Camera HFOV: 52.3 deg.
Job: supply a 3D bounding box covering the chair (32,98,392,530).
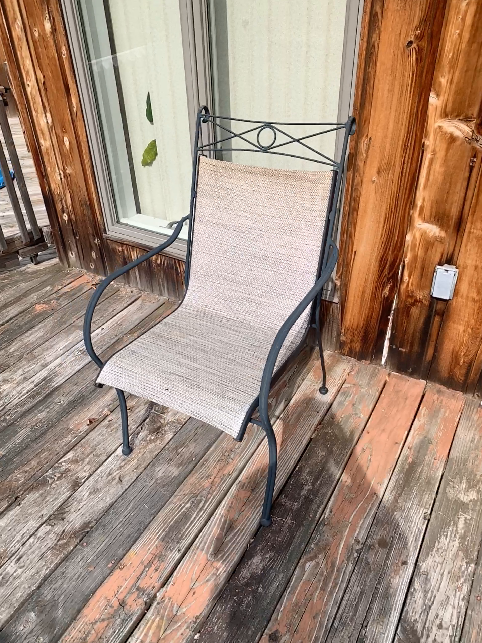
[{"bbox_3d":[-0.017,-0.065,1.437,0.611,0.944,0.653,16,38,24],"label":"chair"}]
